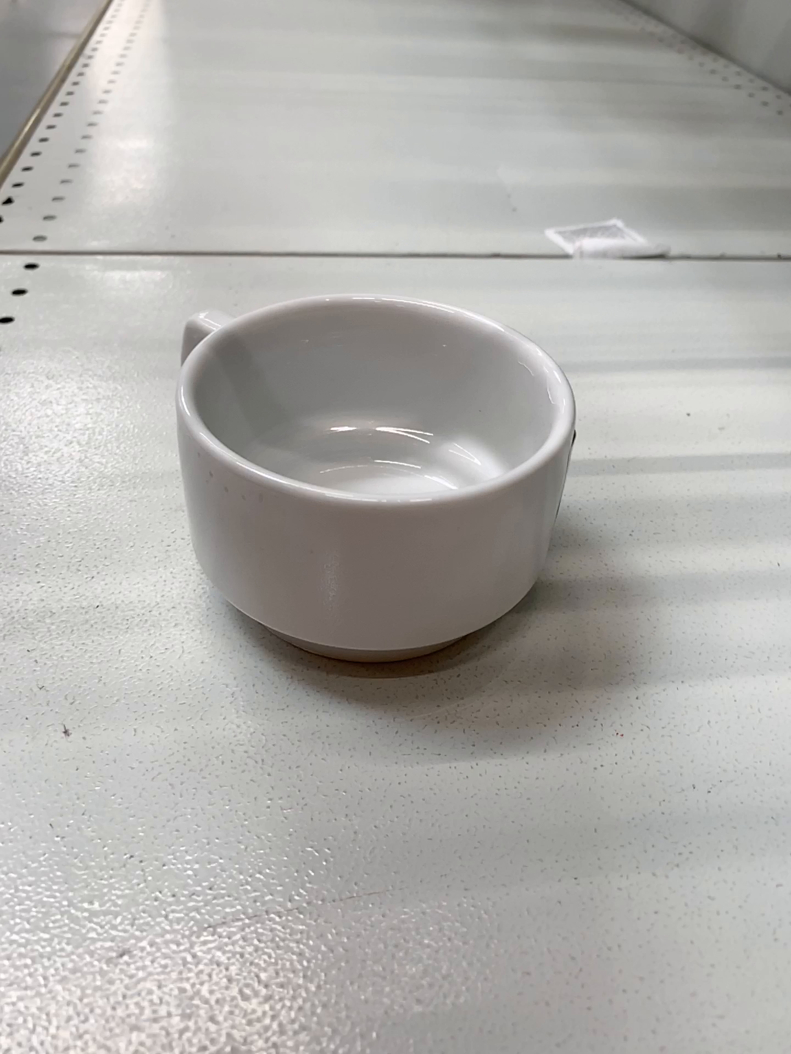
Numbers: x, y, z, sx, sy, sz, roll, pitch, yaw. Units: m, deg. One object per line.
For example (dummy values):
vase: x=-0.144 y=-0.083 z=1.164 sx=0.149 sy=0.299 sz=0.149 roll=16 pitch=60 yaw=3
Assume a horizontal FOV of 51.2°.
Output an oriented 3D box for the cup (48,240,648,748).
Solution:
cup: x=-0.014 y=-0.020 z=0.211 sx=0.091 sy=0.051 sz=0.111 roll=-30 pitch=52 yaw=-34
